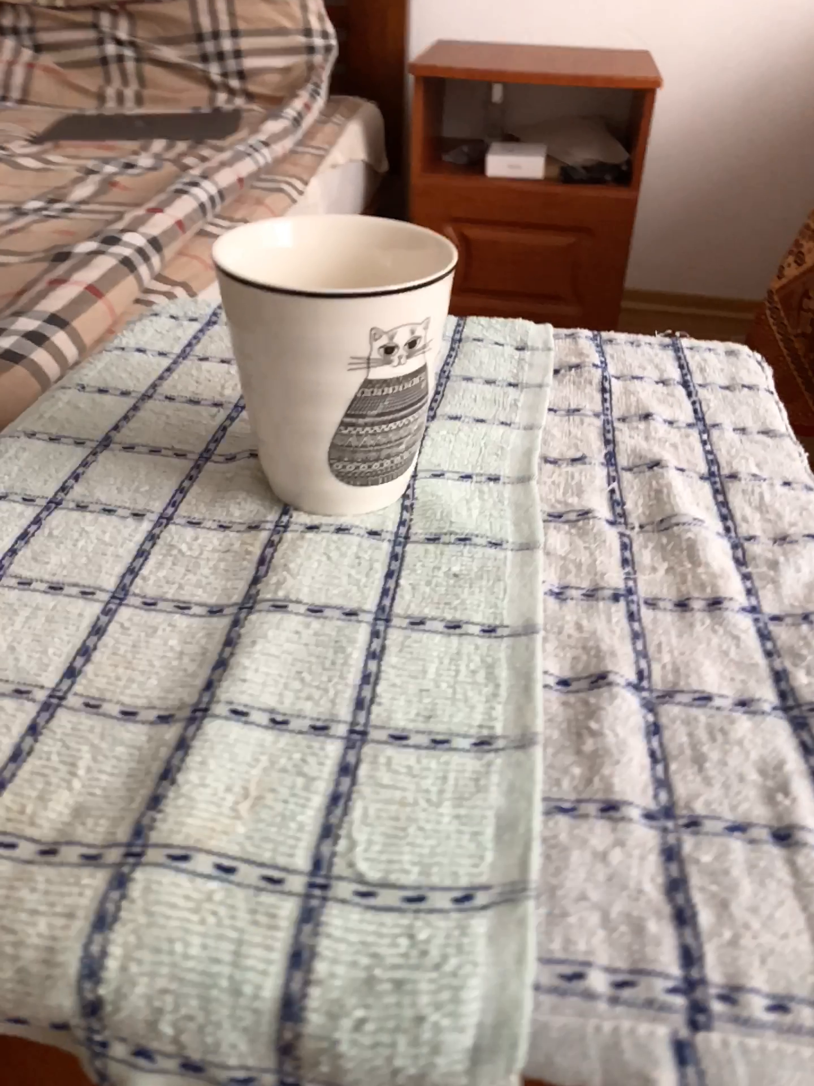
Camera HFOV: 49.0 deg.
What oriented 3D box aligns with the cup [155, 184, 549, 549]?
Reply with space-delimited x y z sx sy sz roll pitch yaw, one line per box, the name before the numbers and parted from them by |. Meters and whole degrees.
cup | -0.018 -0.079 0.363 0.091 0.090 0.124 24 41 28
